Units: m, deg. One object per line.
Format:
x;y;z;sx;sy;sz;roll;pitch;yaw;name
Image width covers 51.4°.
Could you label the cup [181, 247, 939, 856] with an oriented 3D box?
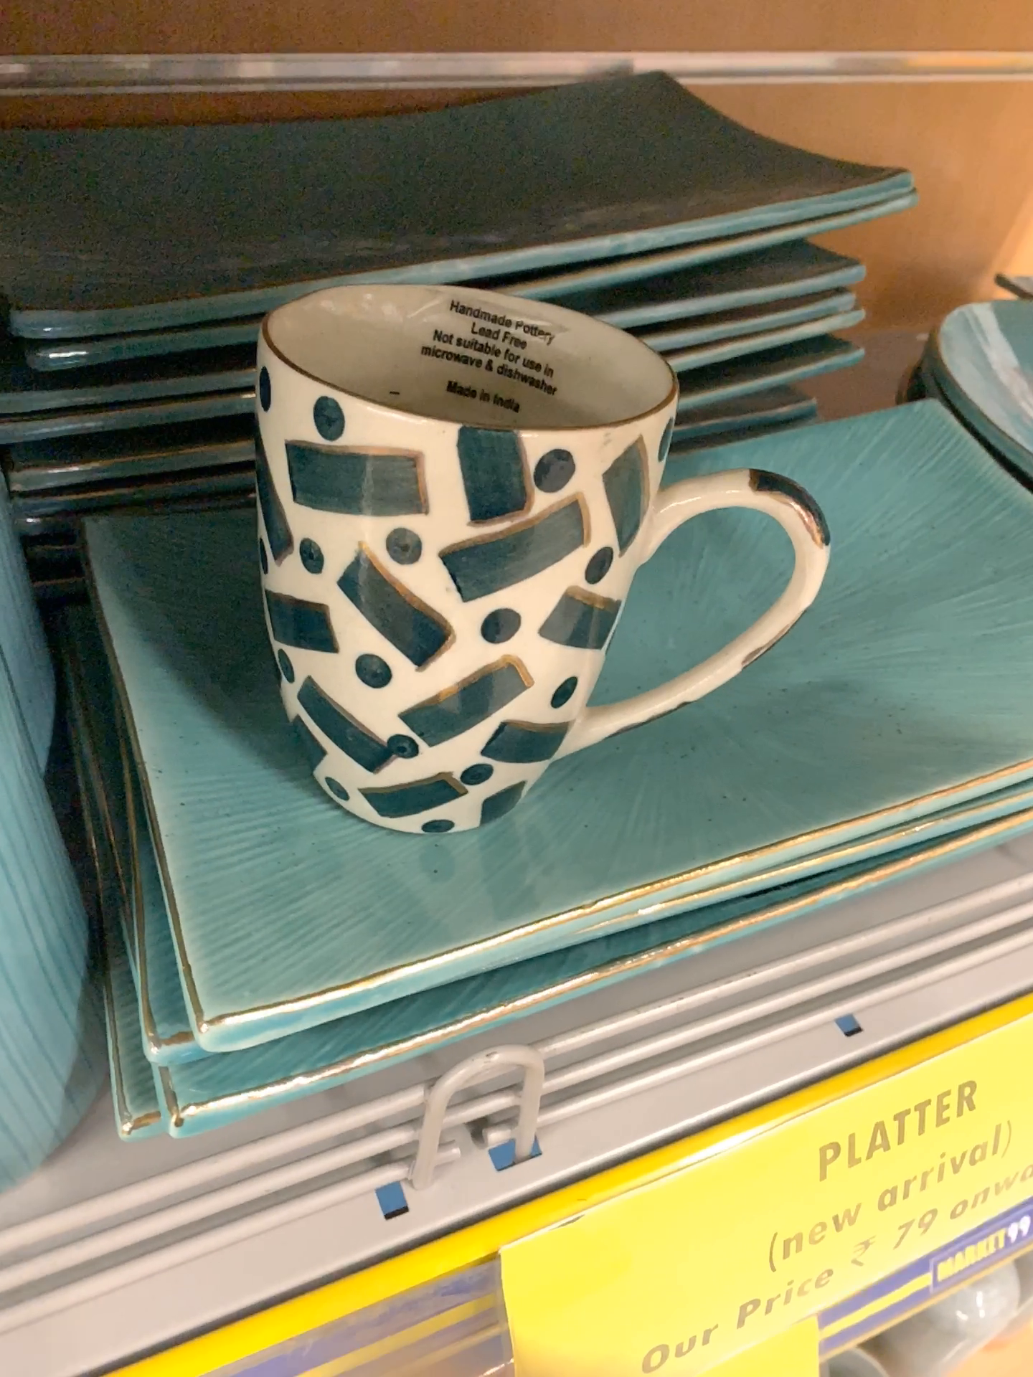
-0.001;-0.027;0.206;0.110;0.080;0.080;3;34;-10;cup
